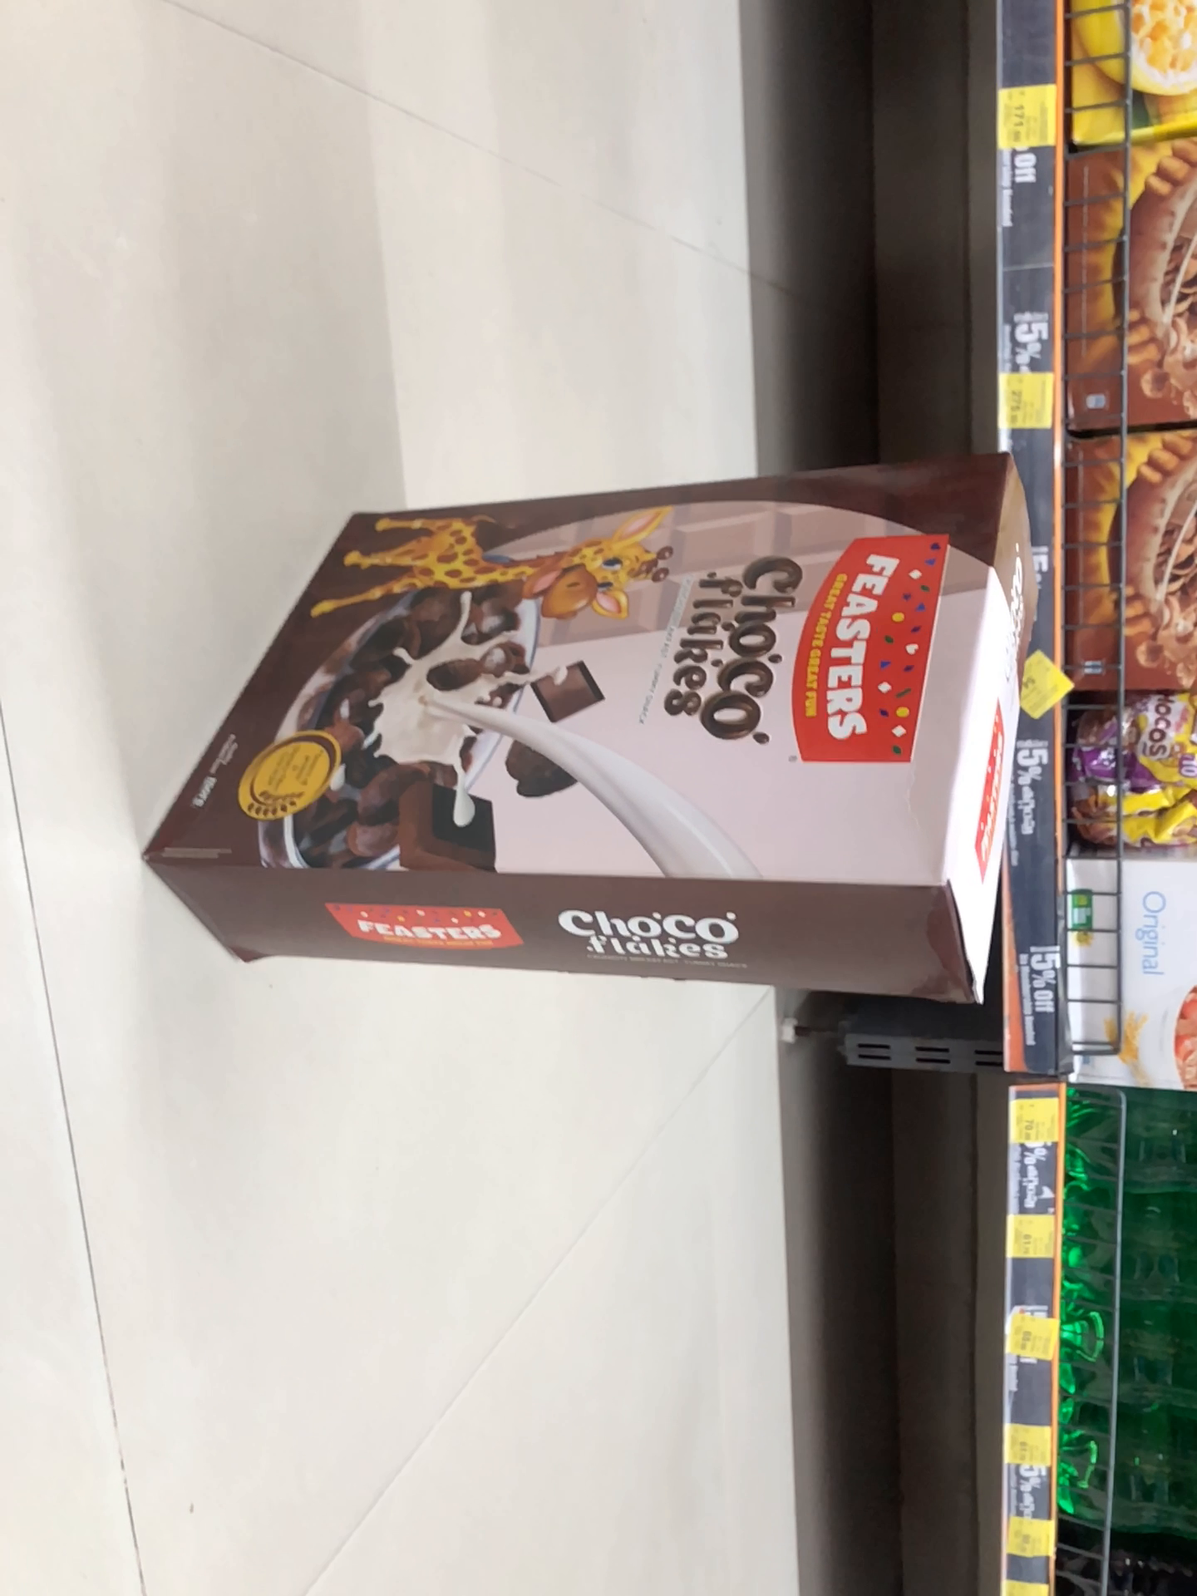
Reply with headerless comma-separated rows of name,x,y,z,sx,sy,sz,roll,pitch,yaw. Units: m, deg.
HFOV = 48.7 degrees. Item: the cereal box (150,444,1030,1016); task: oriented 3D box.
cereal box,0.007,-0.031,0.461,0.060,0.258,0.190,67,32,-45
